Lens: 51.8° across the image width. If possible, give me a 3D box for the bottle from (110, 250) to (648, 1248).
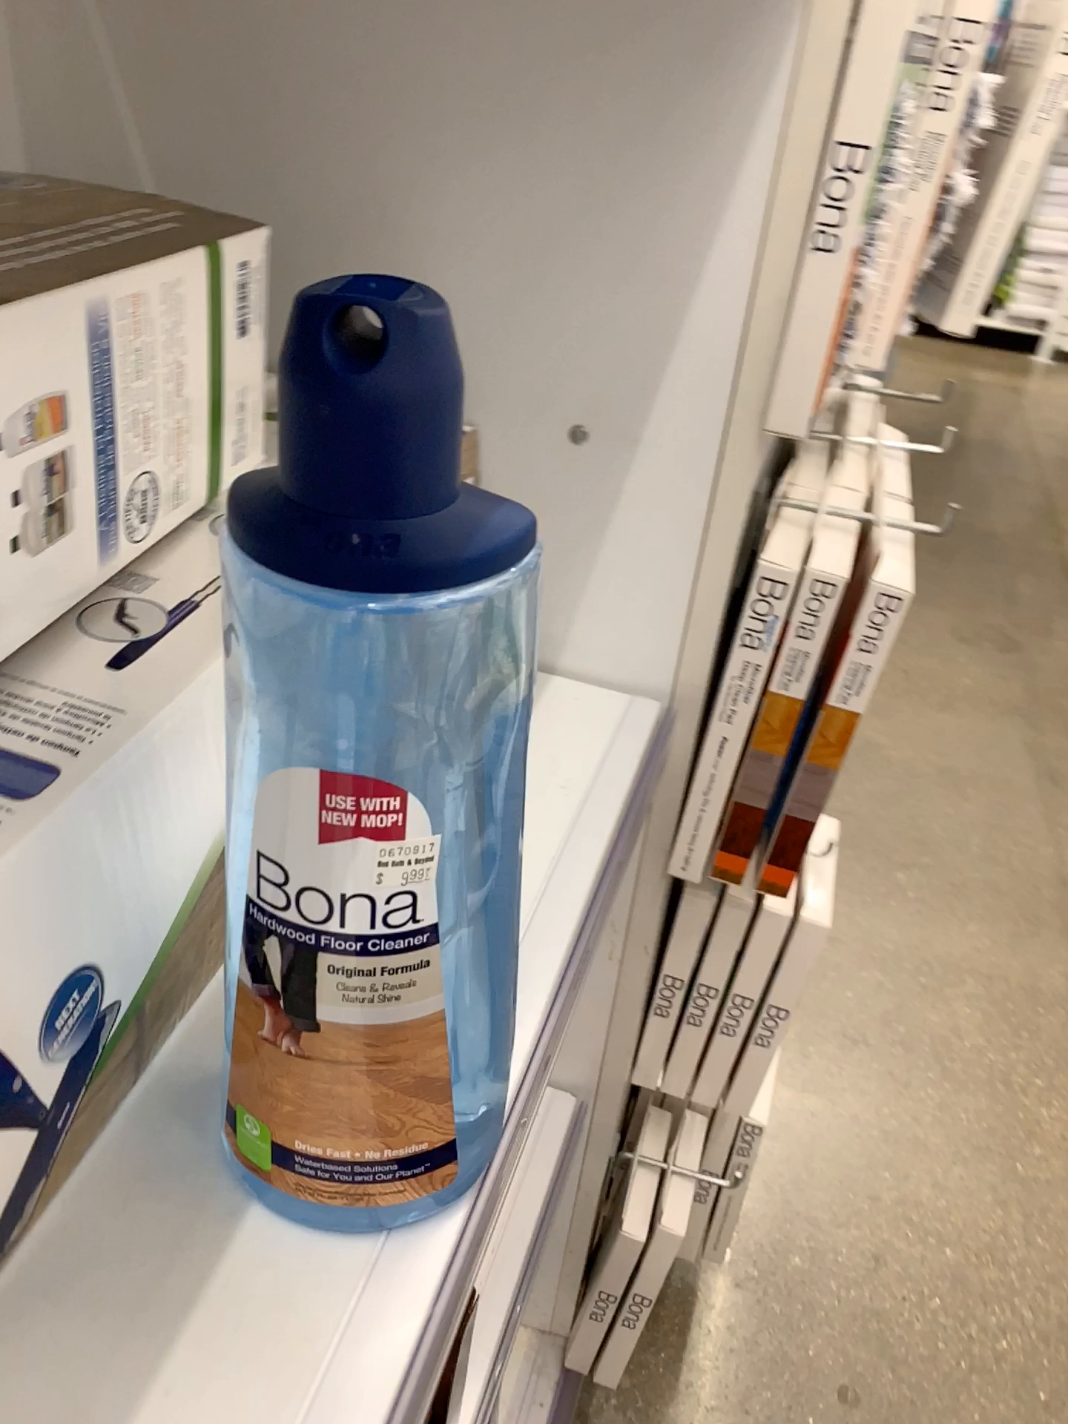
[{"bbox_3d":[-0.042,0.030,0.313,0.100,0.278,0.080,6,33,-2],"label":"bottle"}]
